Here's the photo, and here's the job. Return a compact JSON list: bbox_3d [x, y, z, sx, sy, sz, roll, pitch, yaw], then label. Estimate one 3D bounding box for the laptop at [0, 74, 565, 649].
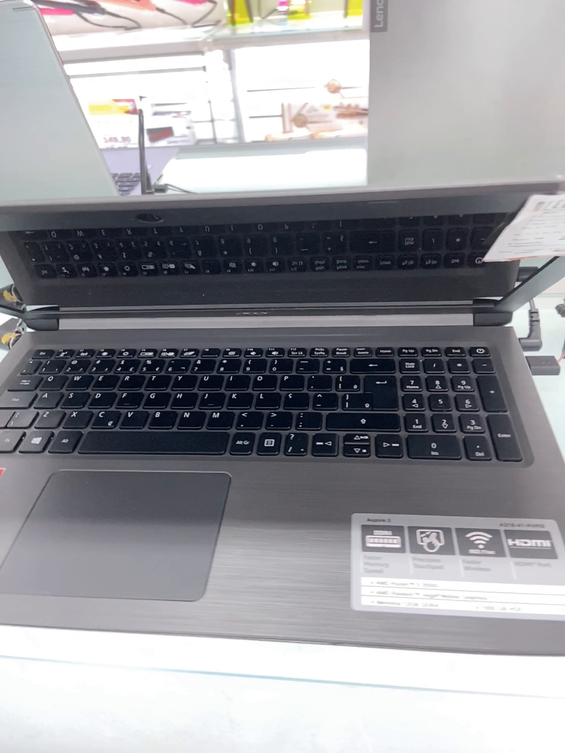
[{"bbox_3d":[-0.037,-0.027,0.284,0.343,0.155,0.221,-1,37,8],"label":"laptop"}]
